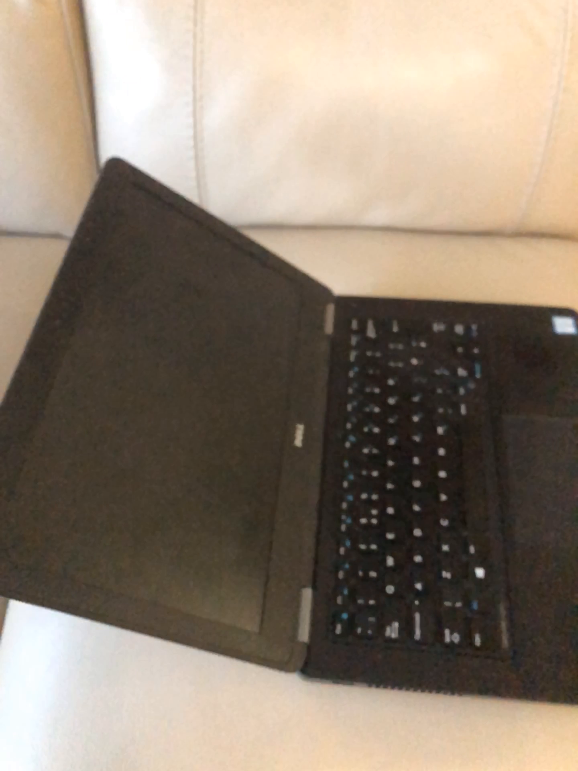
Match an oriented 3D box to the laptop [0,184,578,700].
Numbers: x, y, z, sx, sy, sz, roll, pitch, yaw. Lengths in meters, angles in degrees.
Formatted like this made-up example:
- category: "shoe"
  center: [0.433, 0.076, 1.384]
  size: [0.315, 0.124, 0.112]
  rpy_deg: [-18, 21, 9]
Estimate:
- category: "laptop"
  center: [0.054, 0.015, 0.428]
  size: [0.374, 0.124, 0.307]
  rpy_deg: [3, 55, 6]
